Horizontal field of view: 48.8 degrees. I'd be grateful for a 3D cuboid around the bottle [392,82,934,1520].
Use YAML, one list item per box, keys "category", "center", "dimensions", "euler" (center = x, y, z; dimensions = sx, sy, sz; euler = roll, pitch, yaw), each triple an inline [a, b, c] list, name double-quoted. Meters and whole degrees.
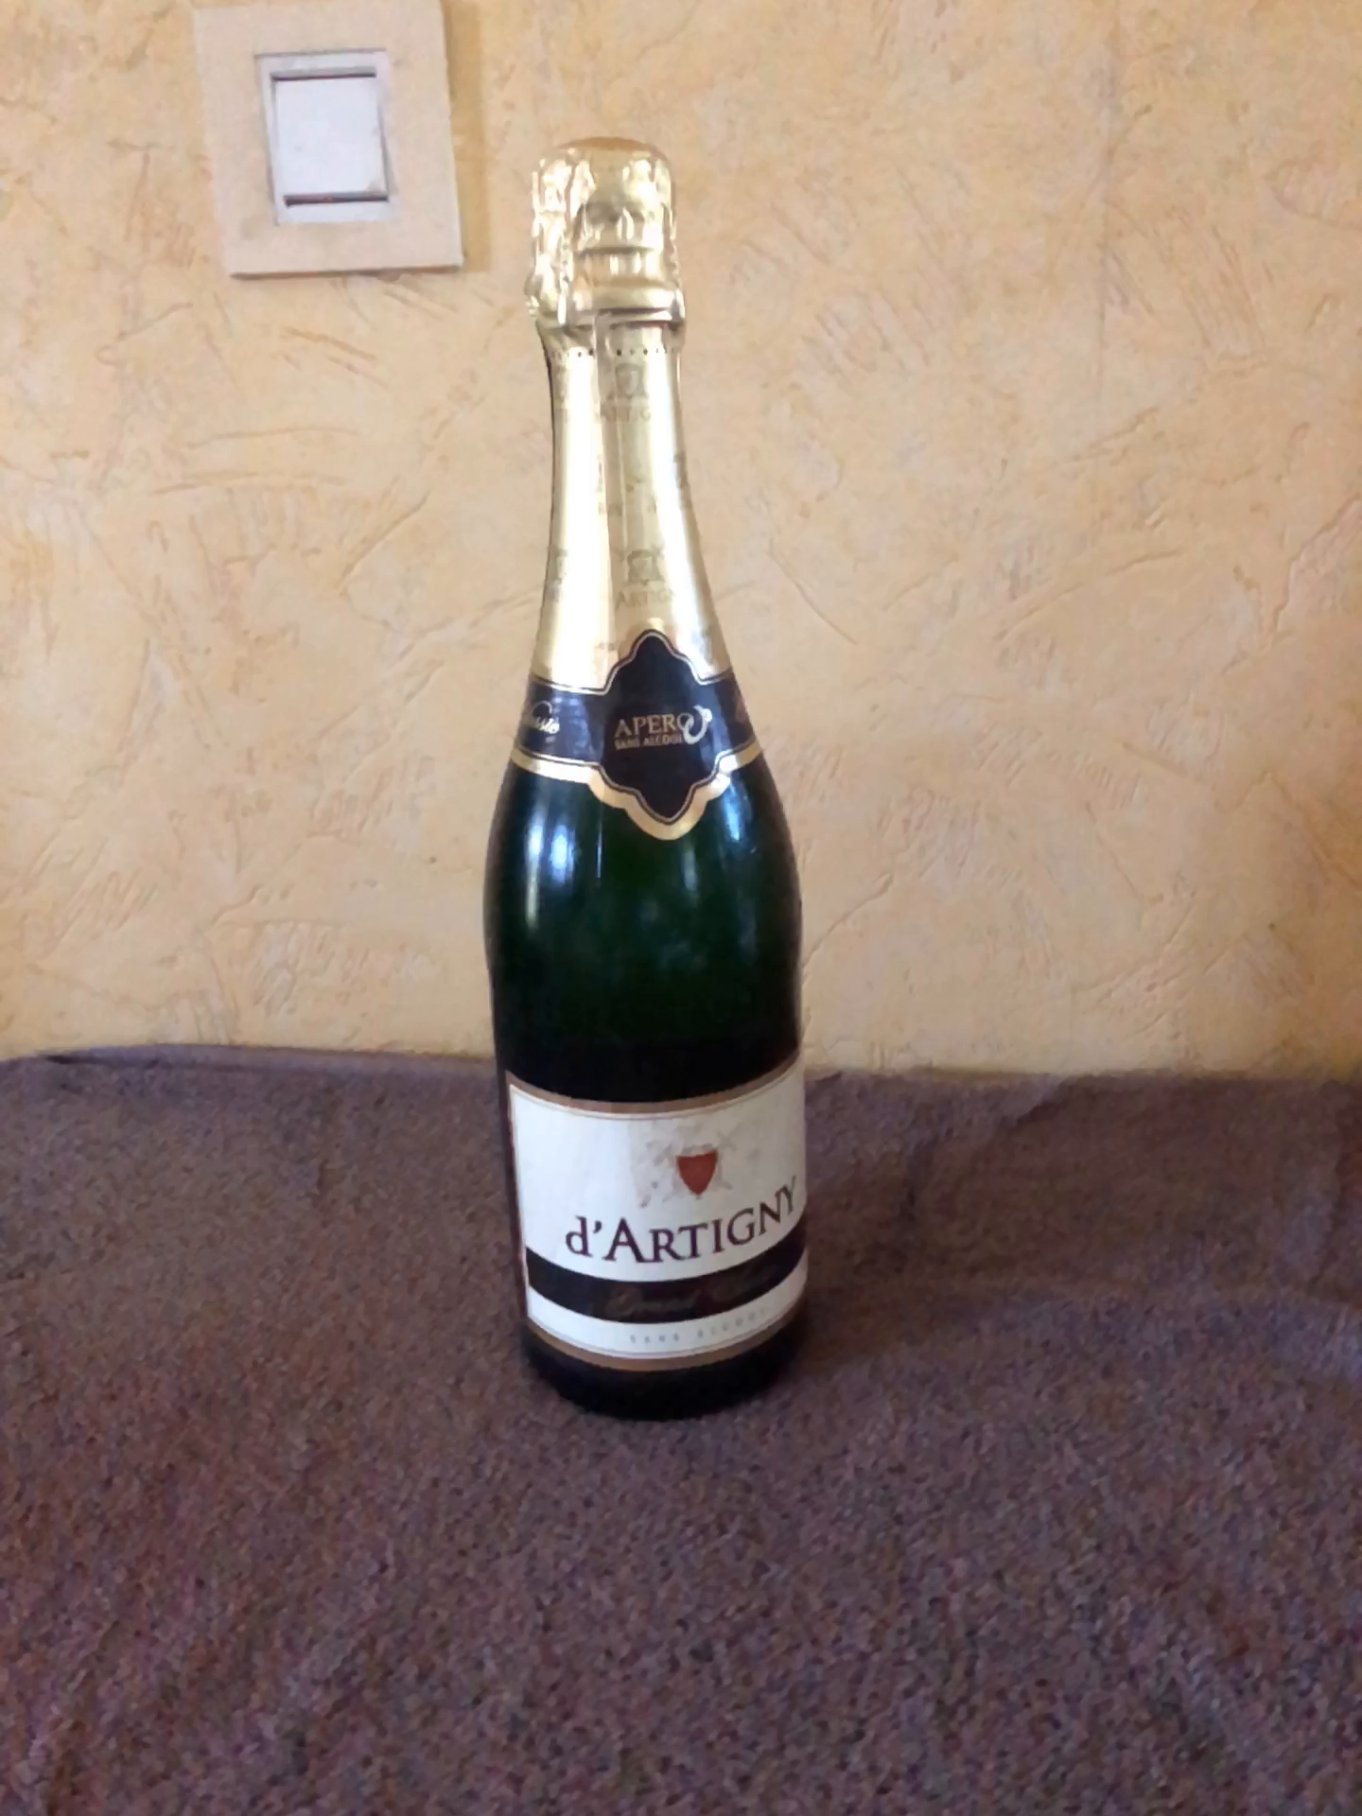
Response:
- category: "bottle"
  center: [-0.004, -0.020, 0.378]
  dimensions: [0.100, 0.319, 0.100]
  euler: [-2, 19, 1]
